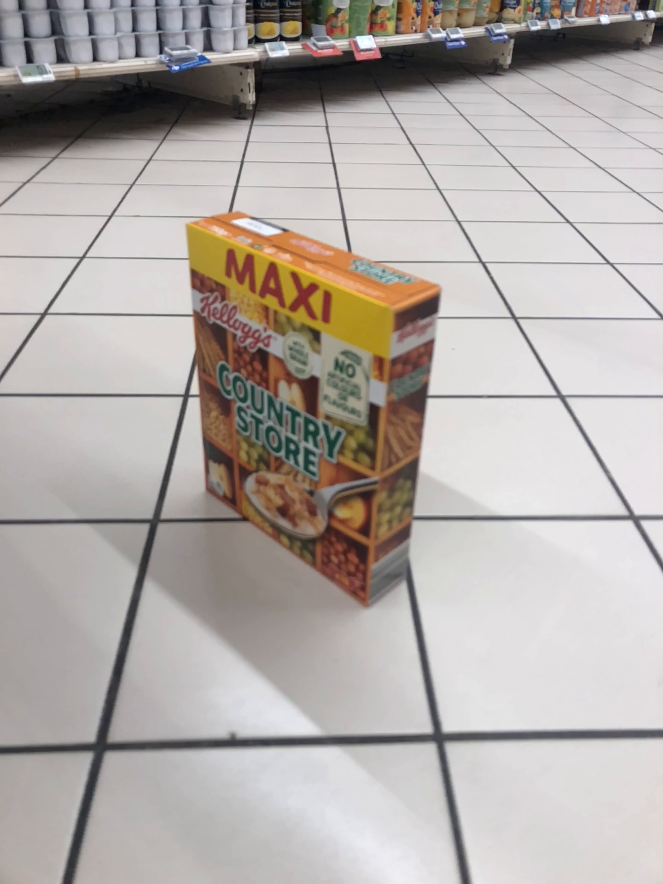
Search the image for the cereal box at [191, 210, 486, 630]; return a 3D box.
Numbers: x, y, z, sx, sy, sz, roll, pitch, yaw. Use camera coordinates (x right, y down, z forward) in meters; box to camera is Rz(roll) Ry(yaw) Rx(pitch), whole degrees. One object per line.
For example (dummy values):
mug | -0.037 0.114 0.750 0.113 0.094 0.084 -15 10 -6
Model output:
cereal box | -0.007 -0.019 0.519 0.200 0.239 0.060 29 42 35
